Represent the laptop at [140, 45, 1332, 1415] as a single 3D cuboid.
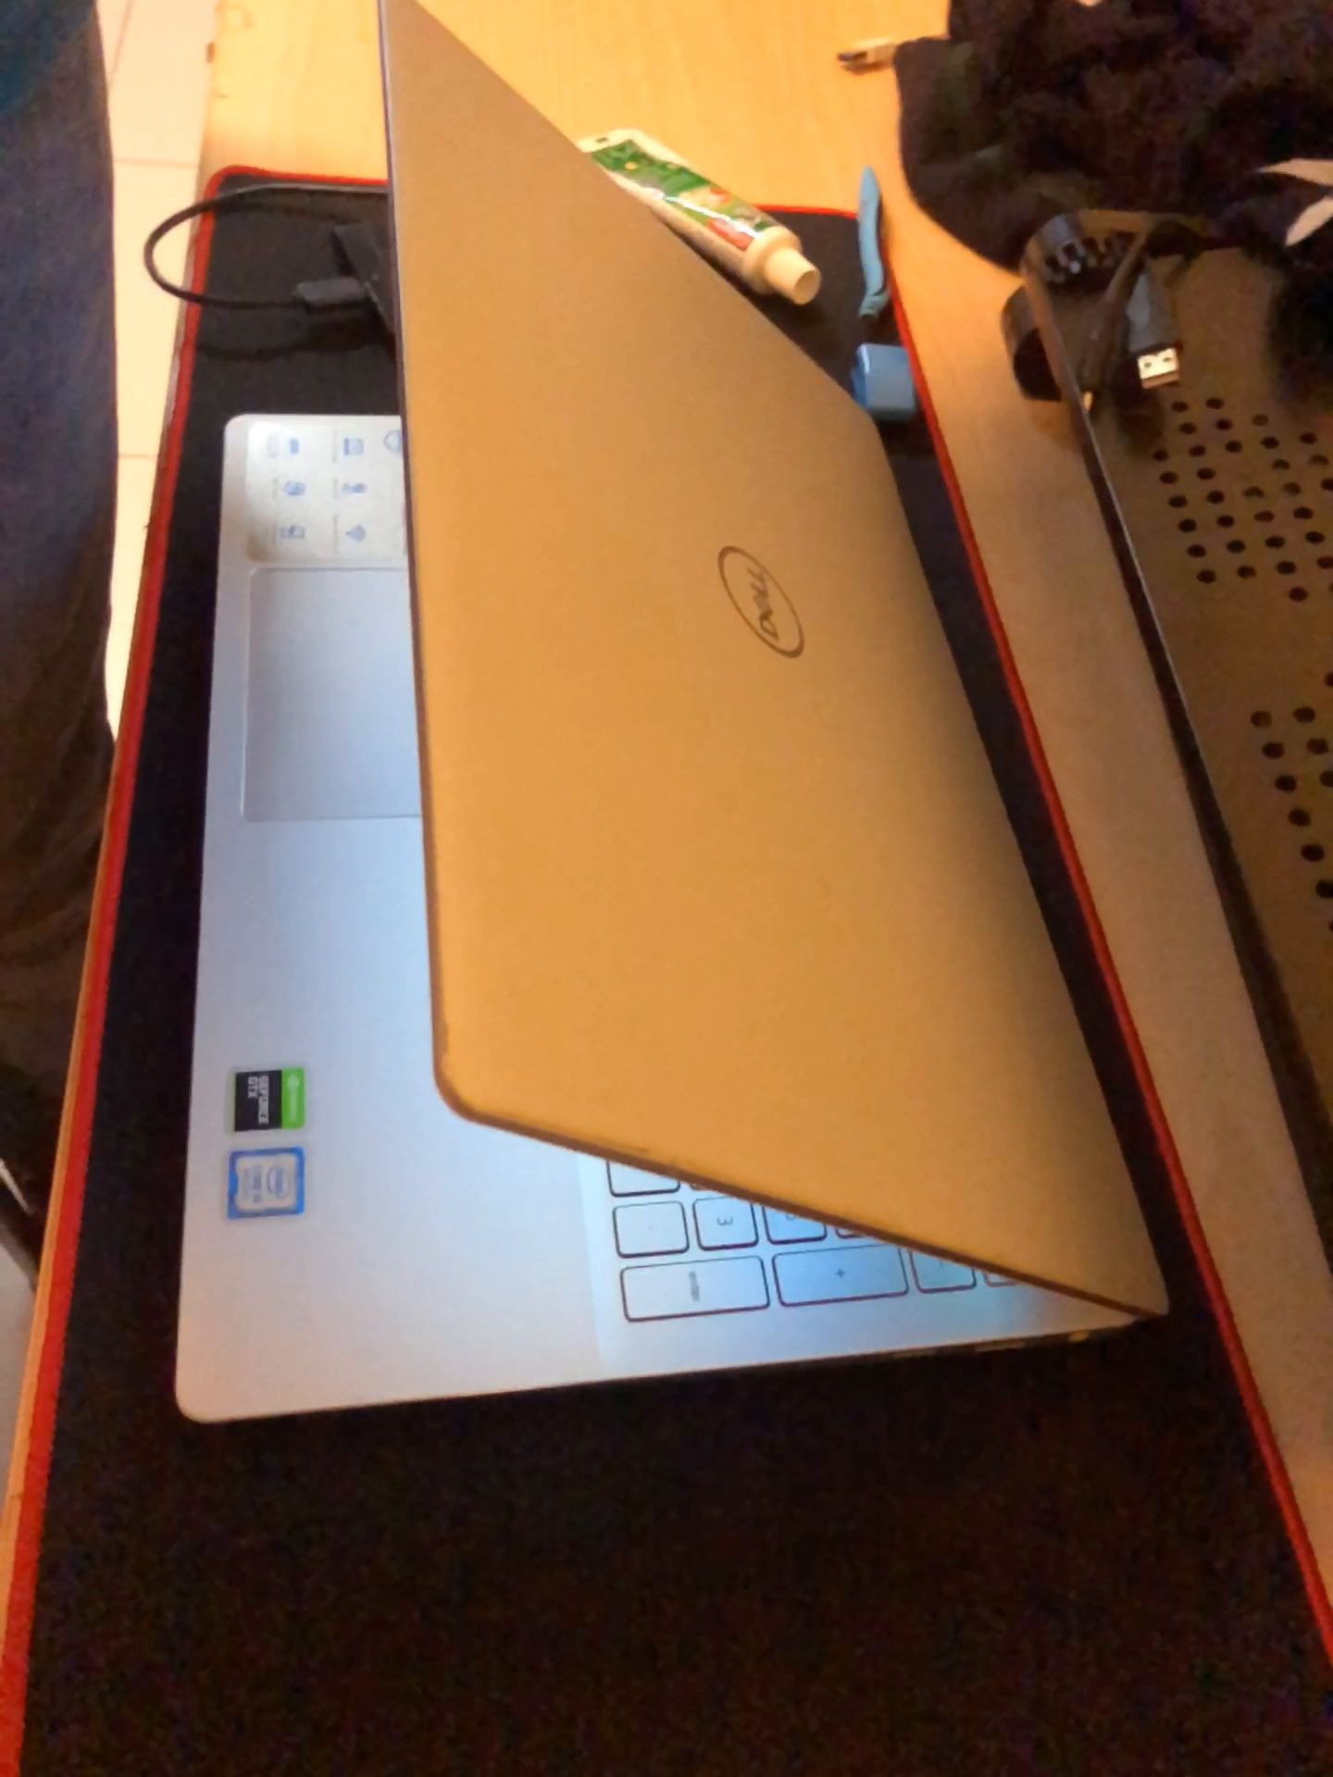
[{"bbox_3d":[-0.002,-0.070,0.395,0.218,0.140,0.352,-3,54,-8],"label":"laptop"}]
